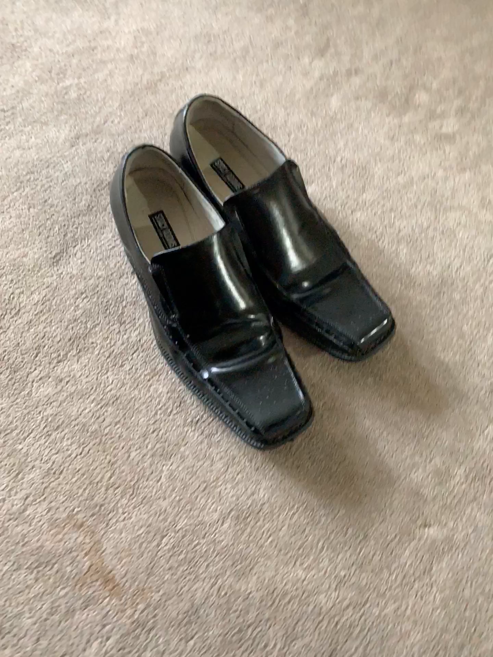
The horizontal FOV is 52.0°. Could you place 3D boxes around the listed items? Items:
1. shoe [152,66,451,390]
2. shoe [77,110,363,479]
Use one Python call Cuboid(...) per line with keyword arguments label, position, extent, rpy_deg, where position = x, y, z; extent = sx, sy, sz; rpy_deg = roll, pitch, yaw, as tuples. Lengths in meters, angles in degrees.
Cuboid(label="shoe", position=(0.041, -0.103, 0.530), extent=(0.110, 0.120, 0.310), rpy_deg=(-35, 77, -16))
Cuboid(label="shoe", position=(-0.036, -0.033, 0.488), extent=(0.110, 0.120, 0.321), rpy_deg=(-25, 74, -14))
